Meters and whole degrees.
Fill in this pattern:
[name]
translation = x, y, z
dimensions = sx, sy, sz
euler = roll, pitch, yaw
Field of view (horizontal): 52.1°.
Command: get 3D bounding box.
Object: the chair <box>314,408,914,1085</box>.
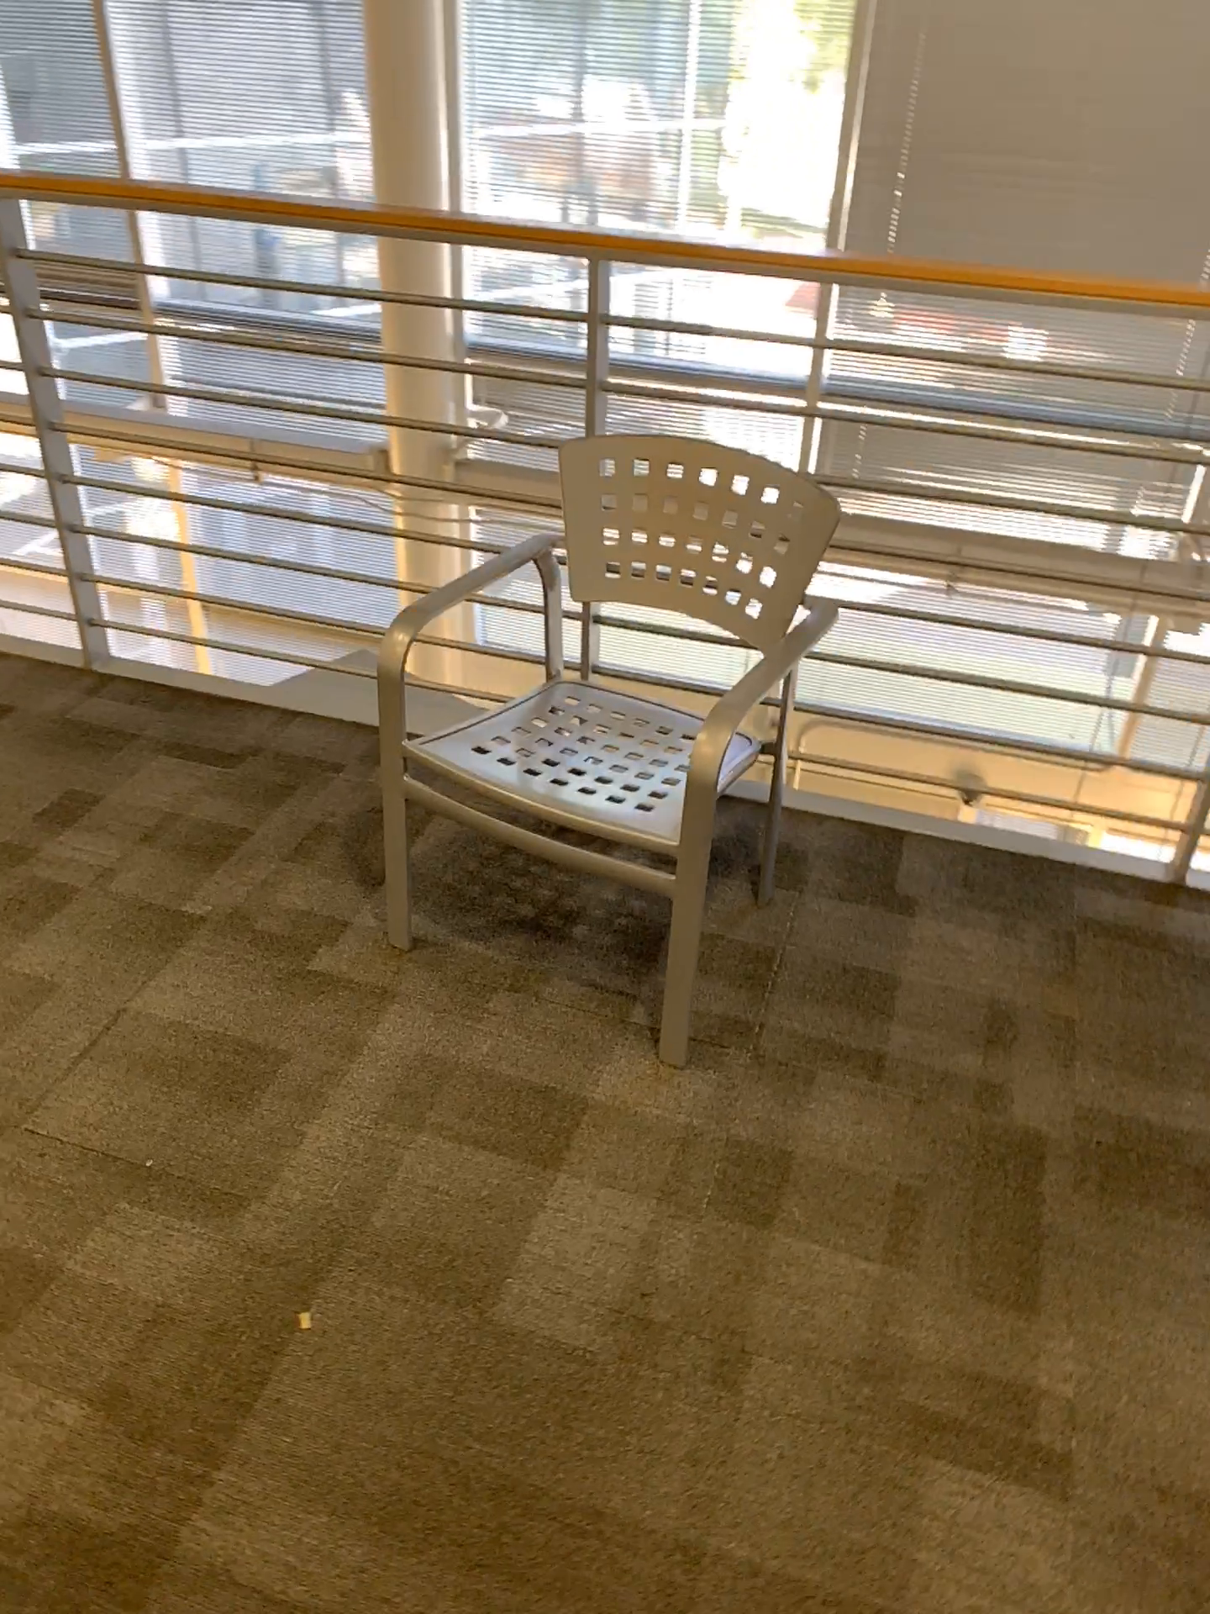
[chair]
translation = 0.029, -0.145, 2.089
dimensions = 0.681, 0.755, 0.683
euler = 18, 37, 20
